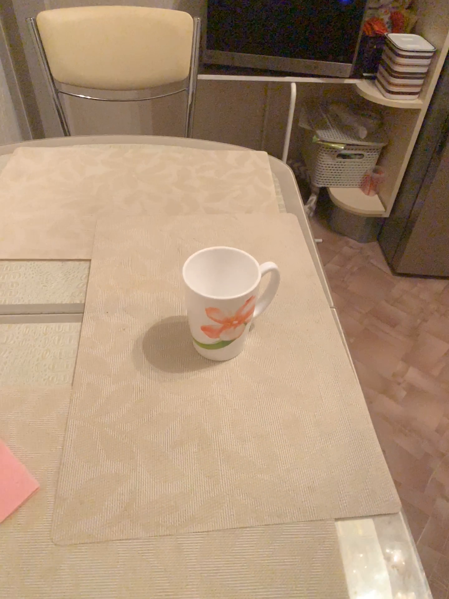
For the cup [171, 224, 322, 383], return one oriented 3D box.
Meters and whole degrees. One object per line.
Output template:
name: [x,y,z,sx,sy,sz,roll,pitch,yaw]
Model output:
cup: [0.019,0.002,0.474,0.119,0.099,0.084,-22,50,-23]
